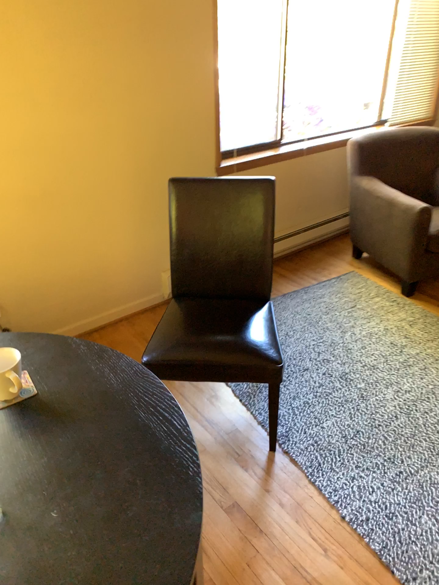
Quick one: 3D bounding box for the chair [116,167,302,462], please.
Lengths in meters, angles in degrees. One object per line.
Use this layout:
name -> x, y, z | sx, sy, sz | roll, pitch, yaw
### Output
chair -> -0.014, 0.078, 1.888 | 0.560, 1.034, 0.674 | 1, 30, 3
